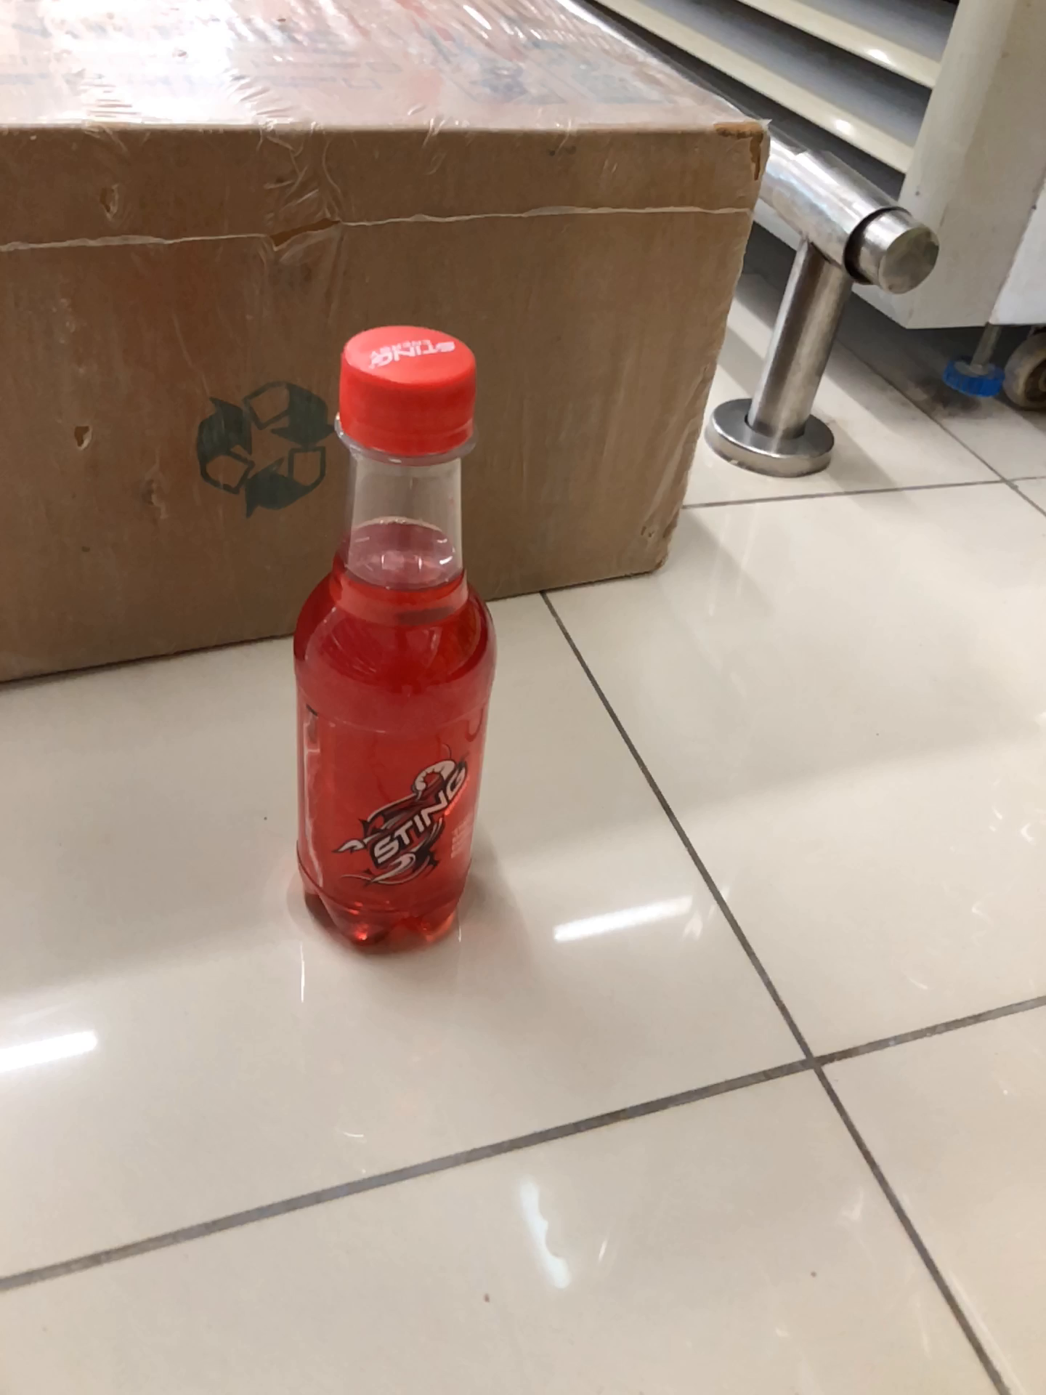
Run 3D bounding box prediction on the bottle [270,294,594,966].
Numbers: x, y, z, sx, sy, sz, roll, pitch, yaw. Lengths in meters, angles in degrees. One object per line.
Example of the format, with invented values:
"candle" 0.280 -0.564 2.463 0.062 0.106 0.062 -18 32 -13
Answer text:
"bottle" -0.032 -0.012 0.322 0.060 0.179 0.060 5 39 -4
